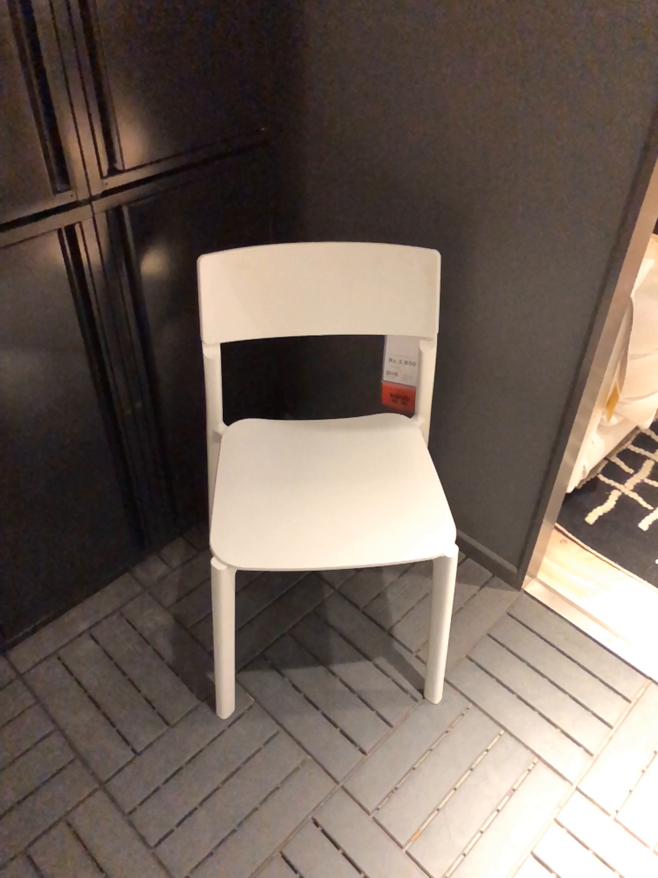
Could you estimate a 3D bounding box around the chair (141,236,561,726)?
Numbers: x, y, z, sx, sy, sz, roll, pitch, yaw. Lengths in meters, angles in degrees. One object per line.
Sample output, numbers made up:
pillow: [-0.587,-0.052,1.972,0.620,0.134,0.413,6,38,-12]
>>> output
chair: [0.004,0.085,1.261,0.500,0.705,0.473,-2,41,-4]
